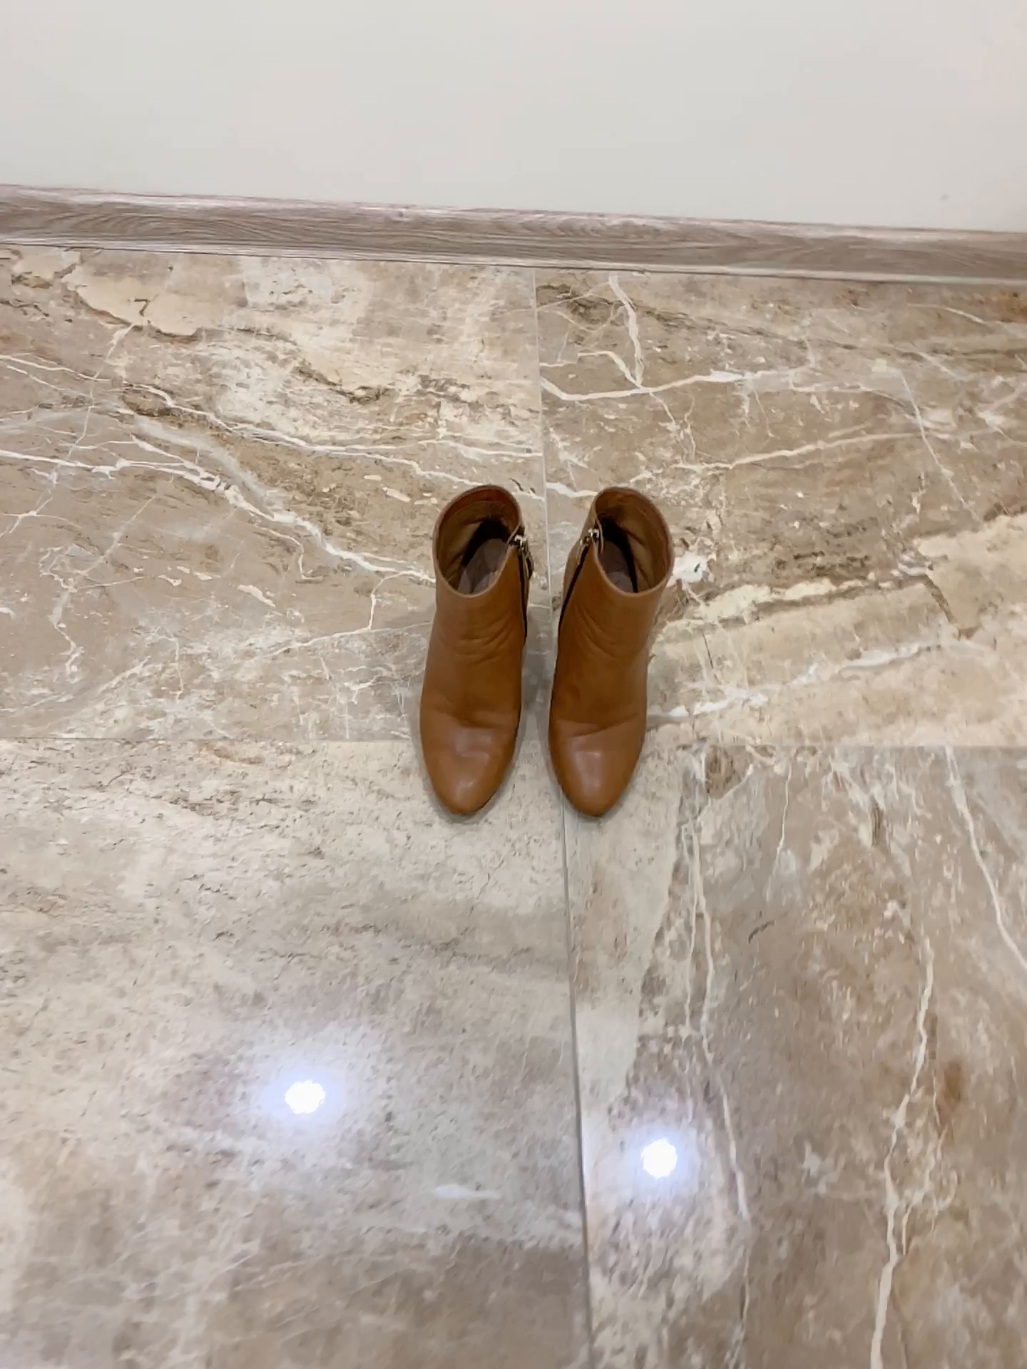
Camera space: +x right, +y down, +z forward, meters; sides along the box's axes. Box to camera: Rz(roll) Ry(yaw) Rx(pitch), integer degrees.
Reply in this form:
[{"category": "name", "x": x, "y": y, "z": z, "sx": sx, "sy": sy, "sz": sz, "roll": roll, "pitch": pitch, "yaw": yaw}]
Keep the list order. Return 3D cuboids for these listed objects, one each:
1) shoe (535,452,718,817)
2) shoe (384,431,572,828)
[{"category": "shoe", "x": 0.073, "y": -0.033, "z": 0.782, "sx": 0.090, "sy": 0.175, "sz": 0.211, "roll": 1, "pitch": 60, "yaw": -5}, {"category": "shoe", "x": -0.026, "y": -0.037, "z": 0.786, "sx": 0.090, "sy": 0.185, "sz": 0.221, "roll": 10, "pitch": 60, "yaw": 1}]
